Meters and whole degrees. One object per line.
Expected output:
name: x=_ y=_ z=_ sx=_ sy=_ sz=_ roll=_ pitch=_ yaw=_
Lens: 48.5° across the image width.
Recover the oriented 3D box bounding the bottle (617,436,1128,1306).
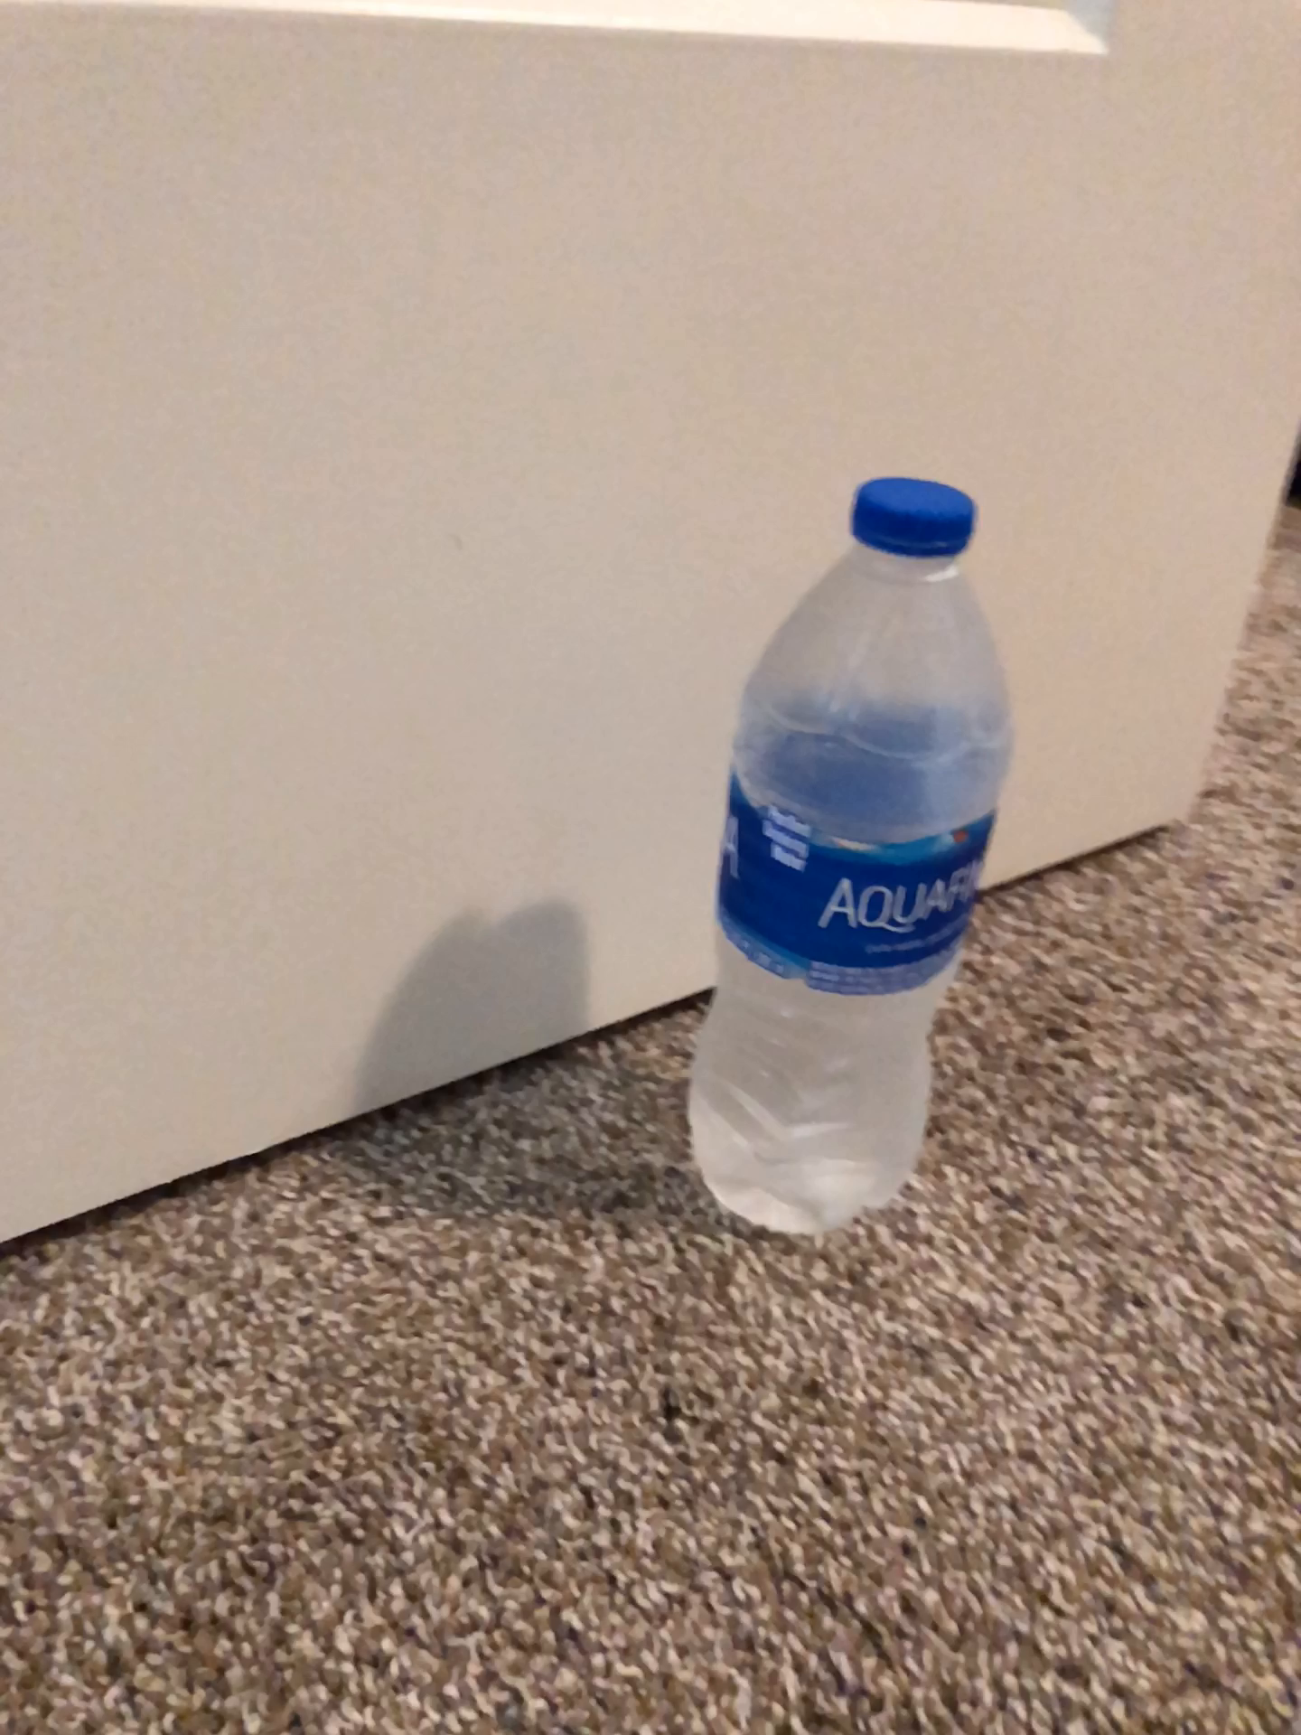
bottle: x=0.044 y=0.003 z=0.350 sx=0.070 sy=0.189 sz=0.070 roll=3 pitch=31 yaw=-2
